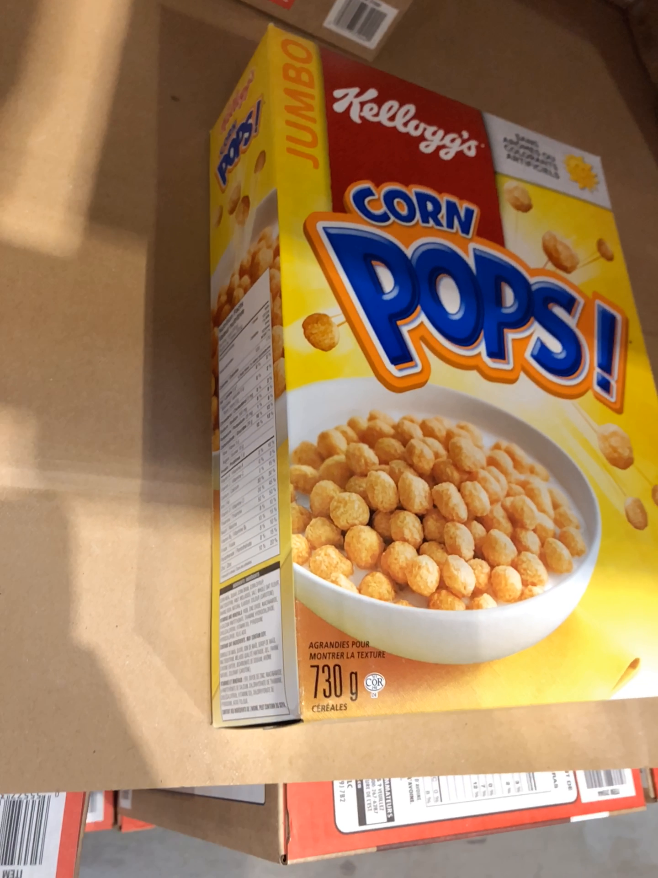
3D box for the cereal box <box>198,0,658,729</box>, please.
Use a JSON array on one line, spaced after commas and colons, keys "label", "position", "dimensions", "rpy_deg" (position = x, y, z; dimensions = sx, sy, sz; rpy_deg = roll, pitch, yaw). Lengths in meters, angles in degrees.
[{"label": "cereal box", "position": [0.075, -0.031, 0.406], "dimensions": [0.271, 0.100, 0.340], "rpy_deg": [8, 65, -26]}]
